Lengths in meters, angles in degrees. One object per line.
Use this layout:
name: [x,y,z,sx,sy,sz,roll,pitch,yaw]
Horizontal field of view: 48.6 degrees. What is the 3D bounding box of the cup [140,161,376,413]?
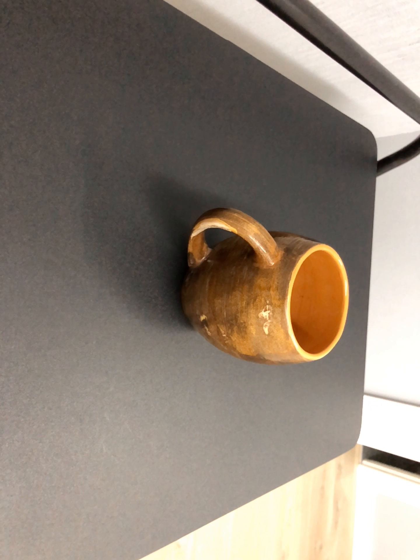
cup: [0.041,0.004,0.326,0.092,0.092,0.131,-49,125,-34]
